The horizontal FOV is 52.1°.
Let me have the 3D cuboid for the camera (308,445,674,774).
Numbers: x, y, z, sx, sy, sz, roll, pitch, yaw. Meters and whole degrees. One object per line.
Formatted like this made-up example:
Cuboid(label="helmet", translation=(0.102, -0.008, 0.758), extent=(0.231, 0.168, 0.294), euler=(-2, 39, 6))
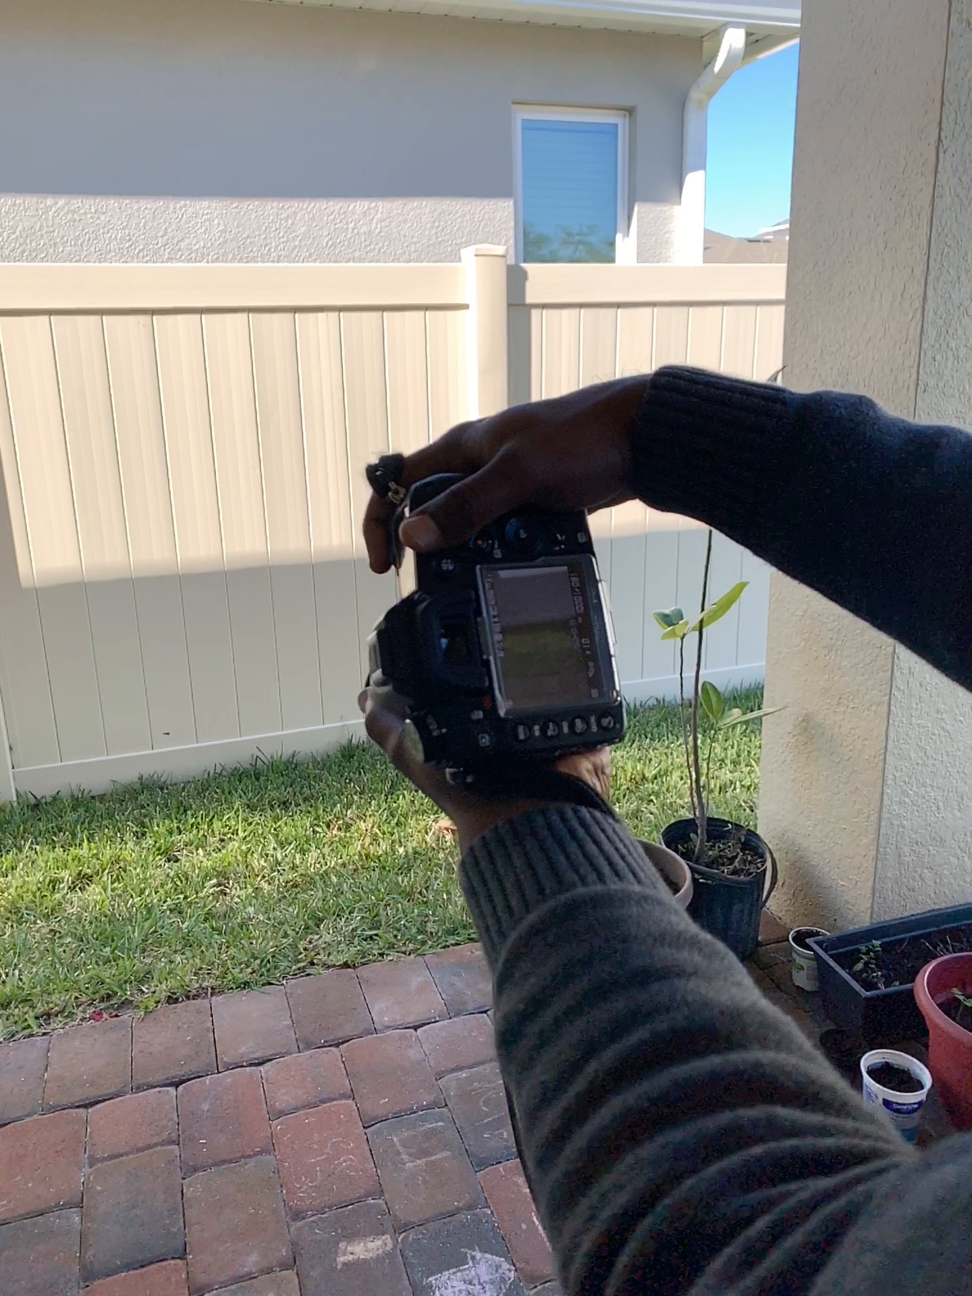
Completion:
Cuboid(label="camera", translation=(-0.010, -0.008, 0.436), extent=(0.090, 0.110, 0.170), euler=(-7, -4, -21))
